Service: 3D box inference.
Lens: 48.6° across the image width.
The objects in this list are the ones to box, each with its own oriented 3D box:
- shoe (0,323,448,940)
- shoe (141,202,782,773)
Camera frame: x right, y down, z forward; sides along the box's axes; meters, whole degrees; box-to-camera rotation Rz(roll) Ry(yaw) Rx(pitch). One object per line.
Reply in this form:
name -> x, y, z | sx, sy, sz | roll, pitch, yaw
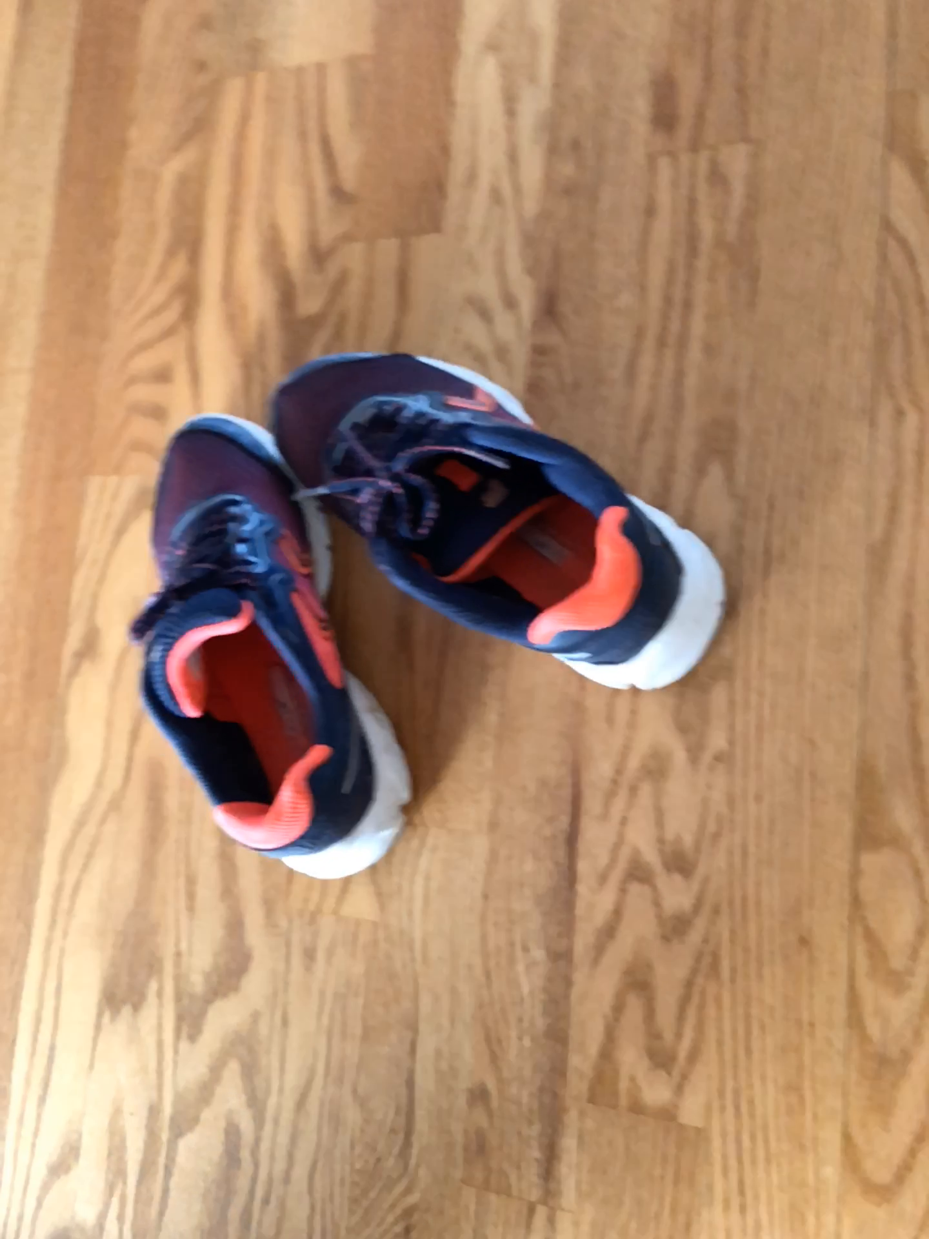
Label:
shoe -> -0.124, 0.006, 0.528 | 0.108, 0.109, 0.270 | -27, 72, 15
shoe -> -0.004, -0.062, 0.492 | 0.278, 0.109, 0.116 | 40, 97, 22
